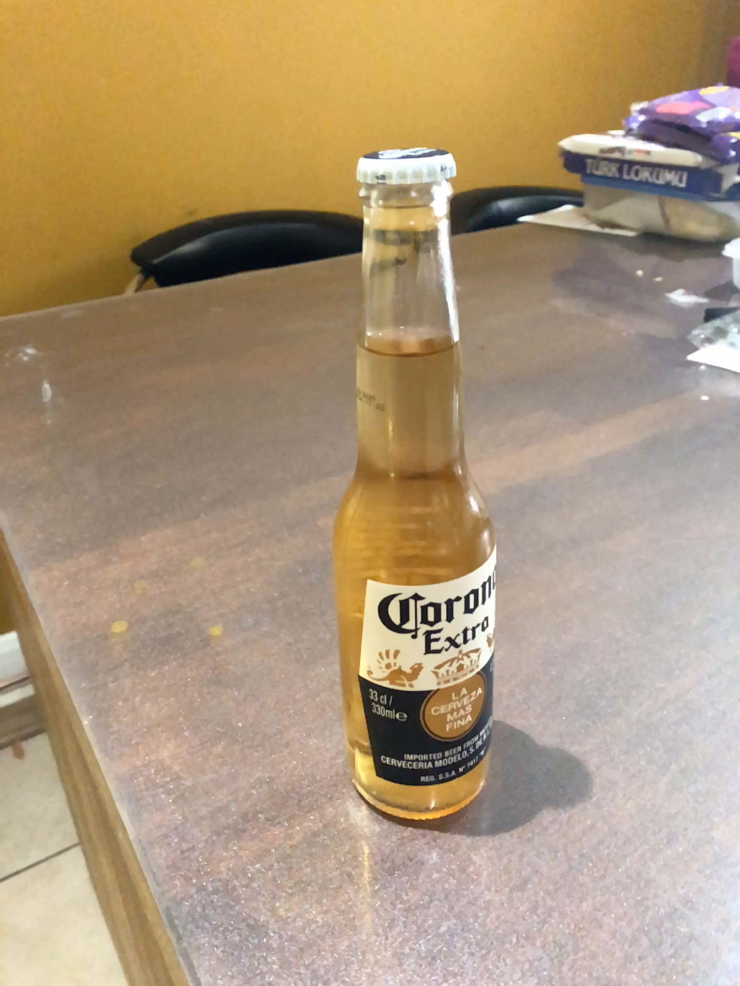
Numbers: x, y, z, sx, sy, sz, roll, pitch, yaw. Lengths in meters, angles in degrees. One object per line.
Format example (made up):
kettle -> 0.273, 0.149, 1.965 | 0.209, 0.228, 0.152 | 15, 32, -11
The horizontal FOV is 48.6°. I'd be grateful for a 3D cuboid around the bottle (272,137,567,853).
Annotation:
bottle -> 0.016, 0.010, 0.285 | 0.060, 0.238, 0.060 | -2, 28, 1
